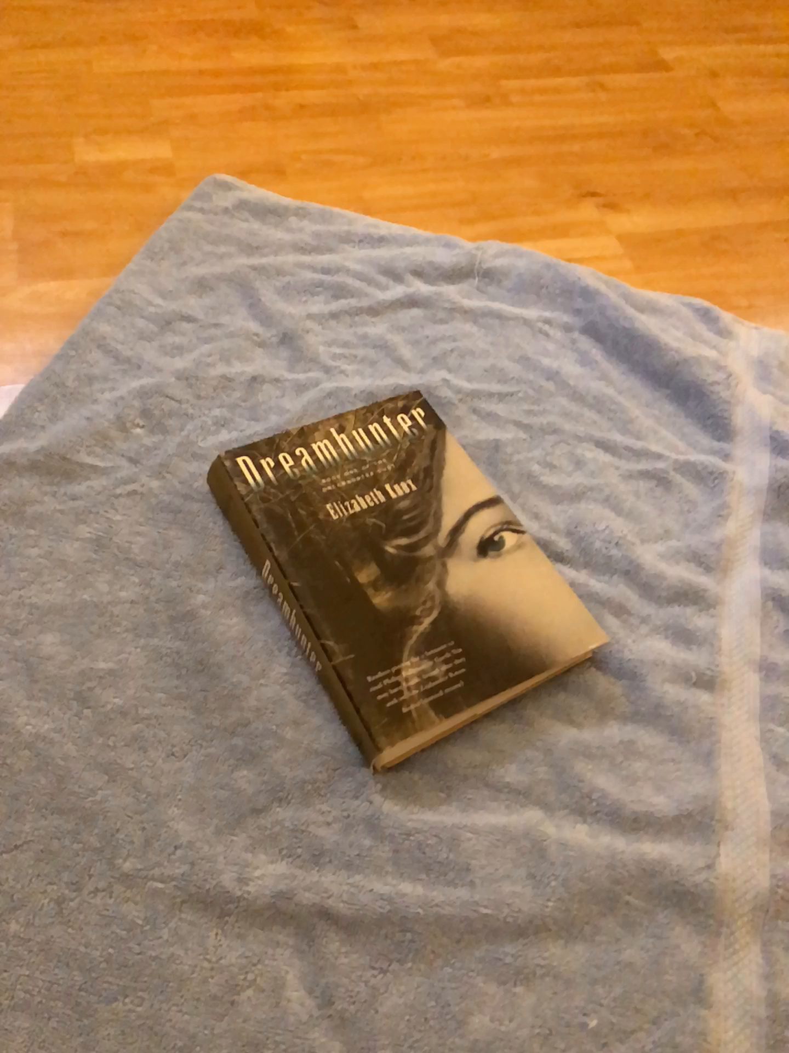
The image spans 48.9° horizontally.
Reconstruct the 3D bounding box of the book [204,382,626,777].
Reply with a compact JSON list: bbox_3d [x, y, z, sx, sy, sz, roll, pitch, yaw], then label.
[{"bbox_3d":[0.004,0.015,0.532,0.164,0.030,0.225,-21,56,-21],"label":"book"}]
